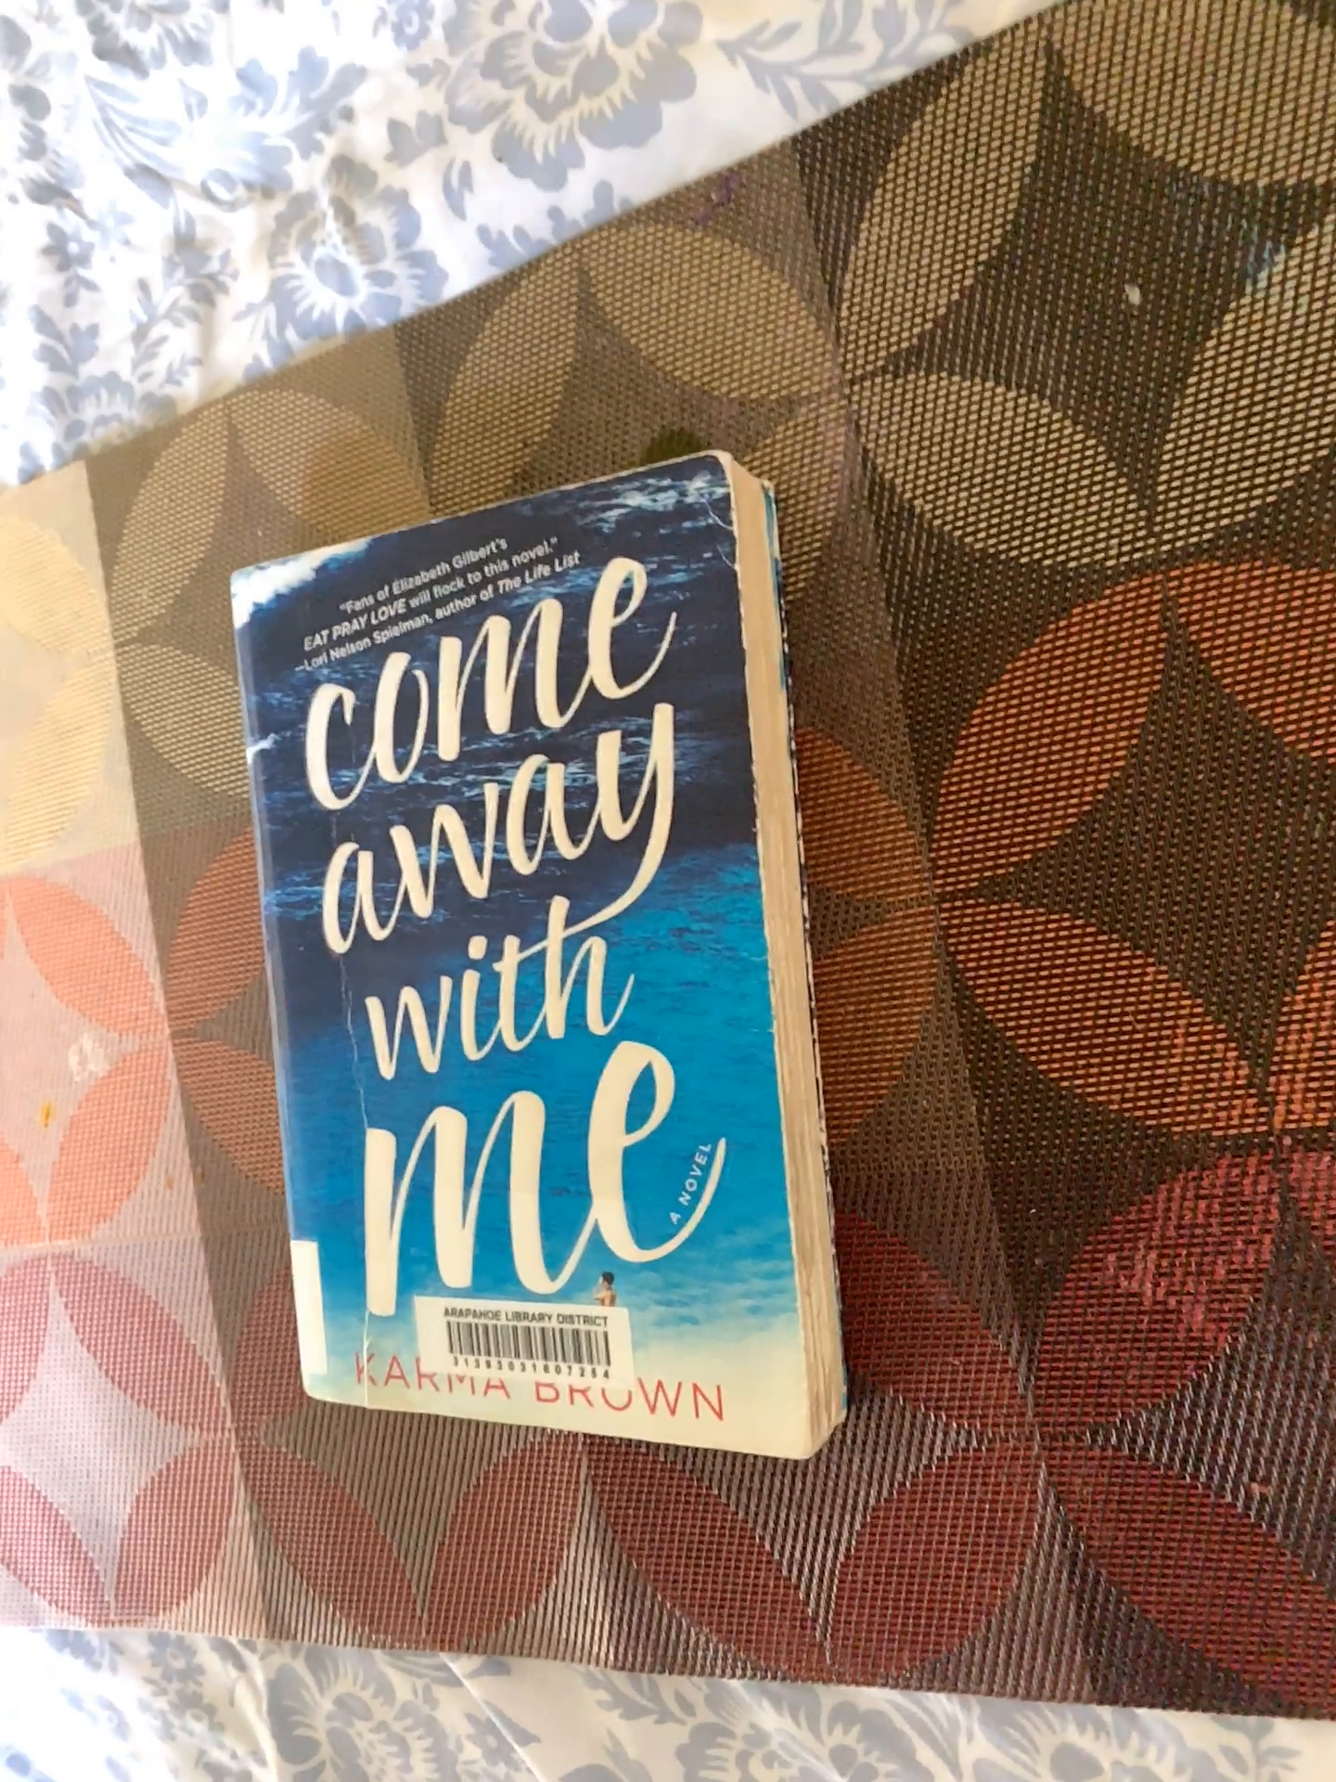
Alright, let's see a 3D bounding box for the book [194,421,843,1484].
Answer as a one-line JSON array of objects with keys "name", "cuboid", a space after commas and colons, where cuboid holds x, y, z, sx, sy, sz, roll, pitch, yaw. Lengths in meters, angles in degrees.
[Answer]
[{"name": "book", "cuboid": [-0.038, 0.016, 0.305, 0.135, 0.030, 0.200, -5, 89, 29]}]
